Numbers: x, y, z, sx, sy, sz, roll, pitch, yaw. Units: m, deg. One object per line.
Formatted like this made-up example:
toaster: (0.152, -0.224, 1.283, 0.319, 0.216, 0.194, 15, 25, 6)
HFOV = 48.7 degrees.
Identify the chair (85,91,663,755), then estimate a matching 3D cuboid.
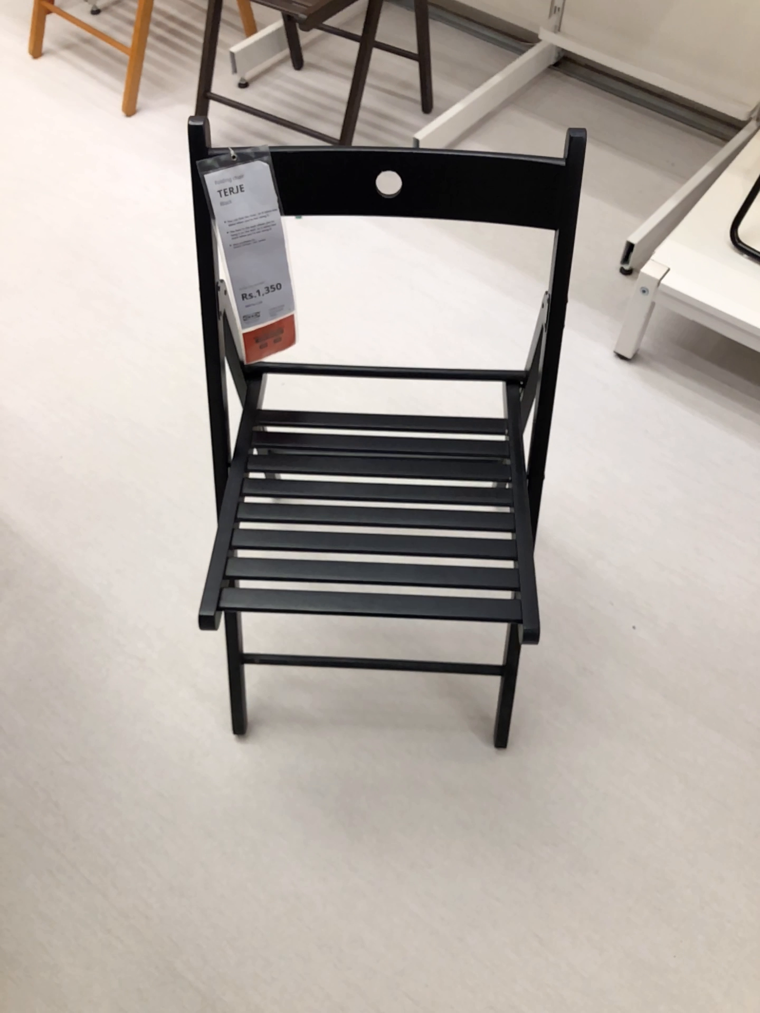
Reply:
chair: (0.006, -0.040, 1.075, 0.440, 0.727, 0.482, 3, 57, 2)
